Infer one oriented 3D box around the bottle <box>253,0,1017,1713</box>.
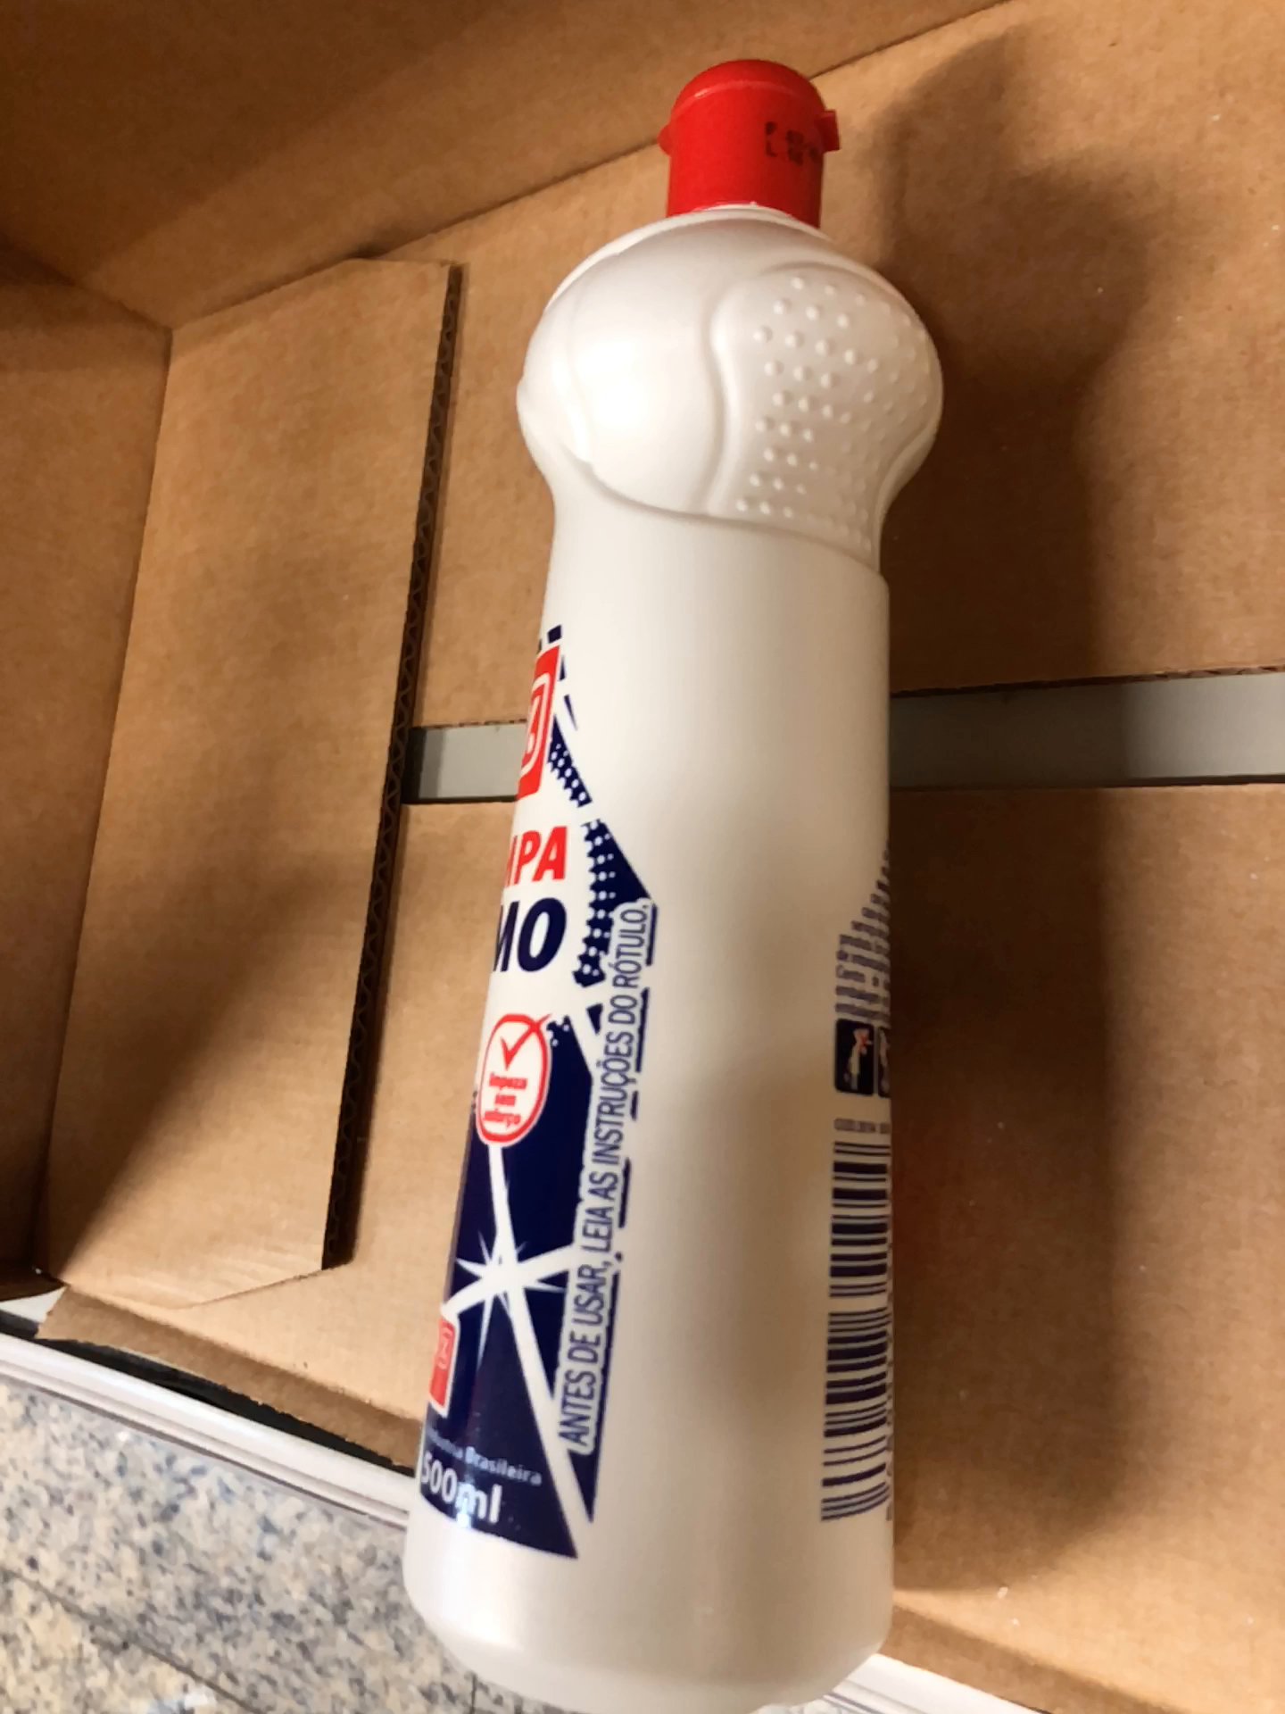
[{"bbox_3d":[0.003,-0.021,0.215,0.080,0.060,0.260,-3,80,39],"label":"bottle"}]
